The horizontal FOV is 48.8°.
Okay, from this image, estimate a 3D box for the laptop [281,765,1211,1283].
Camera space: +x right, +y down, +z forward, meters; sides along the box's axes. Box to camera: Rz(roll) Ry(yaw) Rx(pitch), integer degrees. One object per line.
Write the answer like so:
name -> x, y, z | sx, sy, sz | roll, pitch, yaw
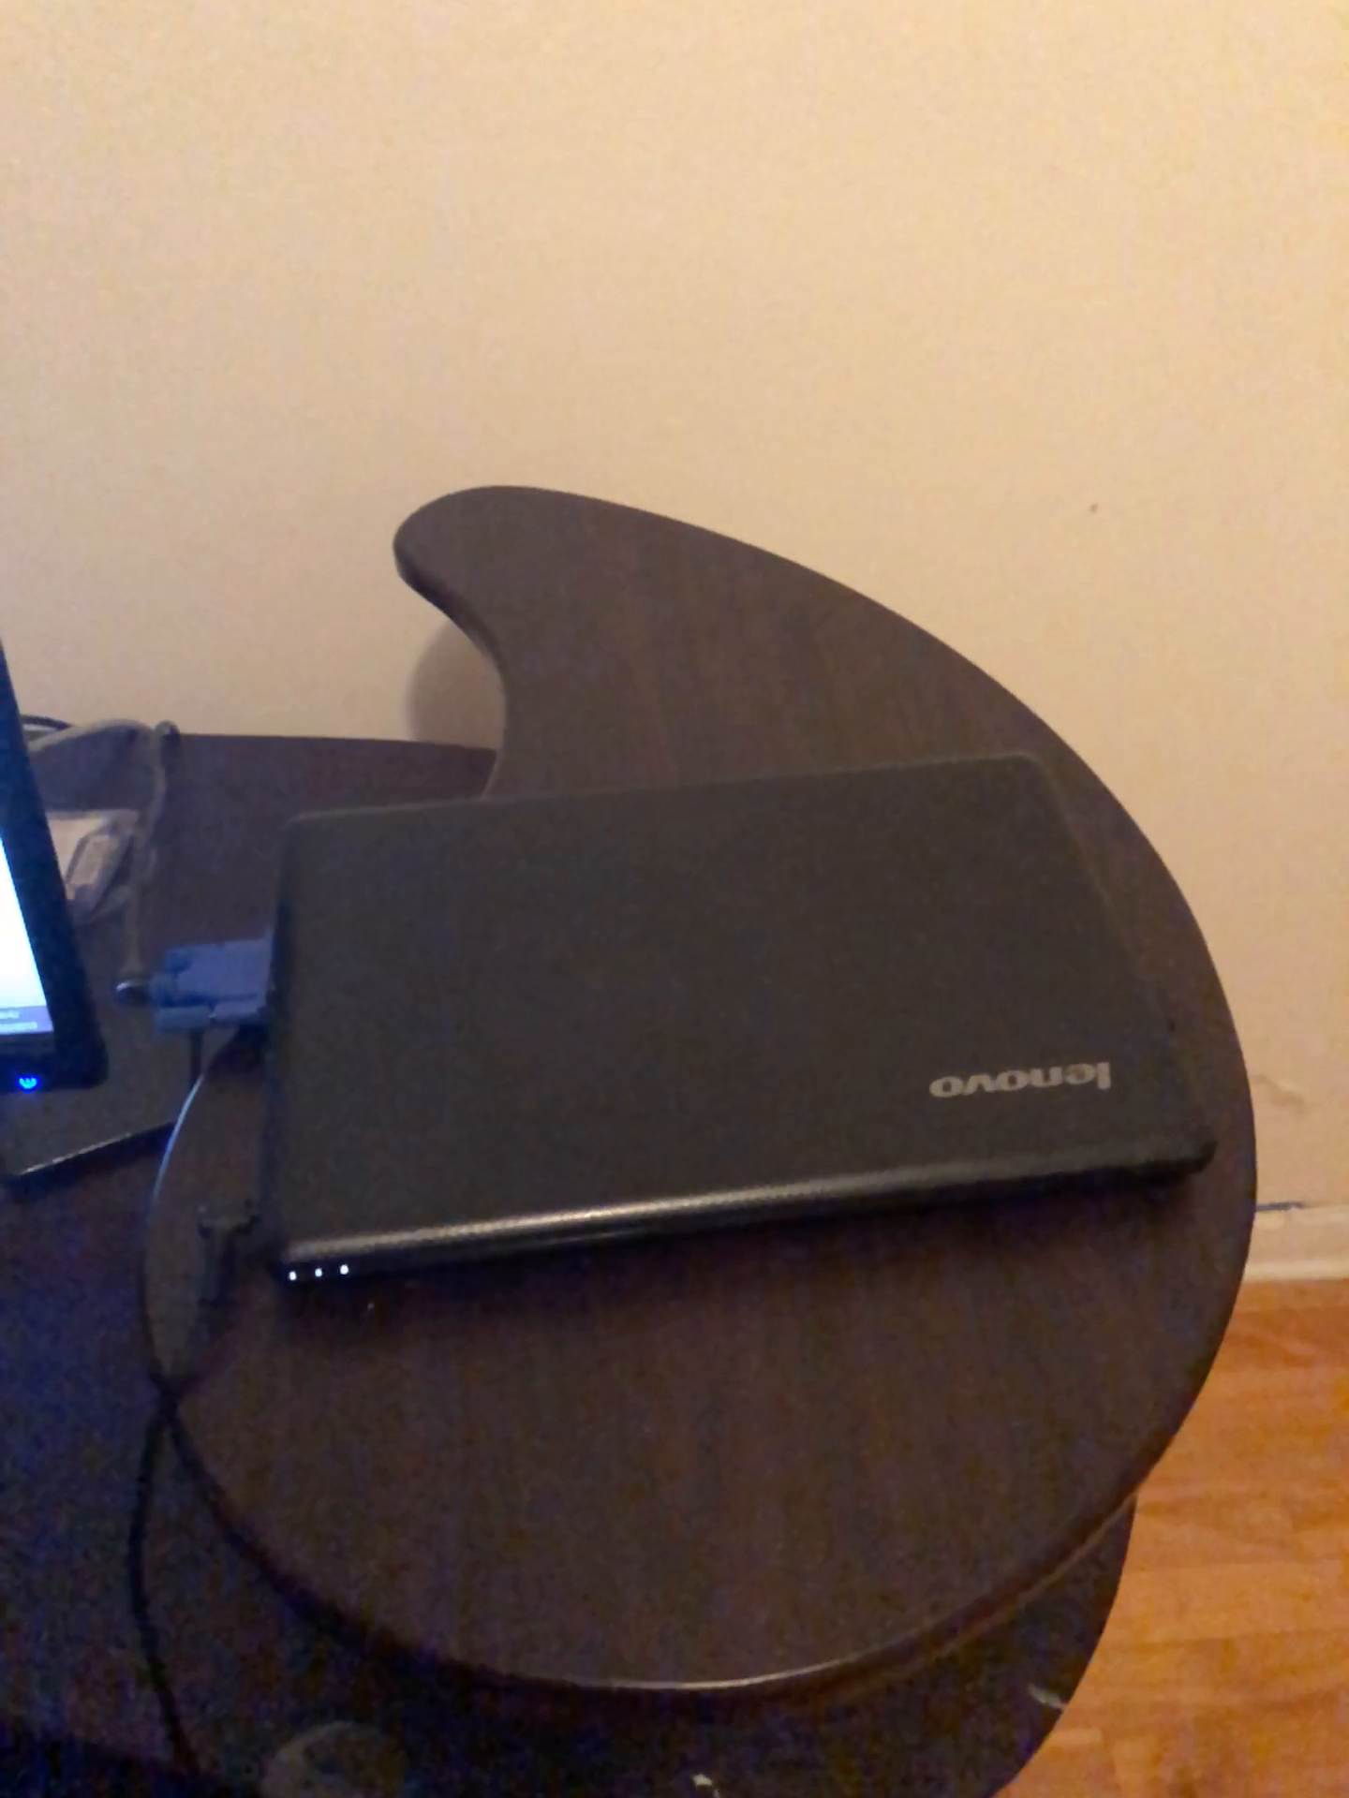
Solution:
laptop -> 0.011, 0.028, 0.473 | 0.259, 0.008, 0.173 | -6, 45, -4
